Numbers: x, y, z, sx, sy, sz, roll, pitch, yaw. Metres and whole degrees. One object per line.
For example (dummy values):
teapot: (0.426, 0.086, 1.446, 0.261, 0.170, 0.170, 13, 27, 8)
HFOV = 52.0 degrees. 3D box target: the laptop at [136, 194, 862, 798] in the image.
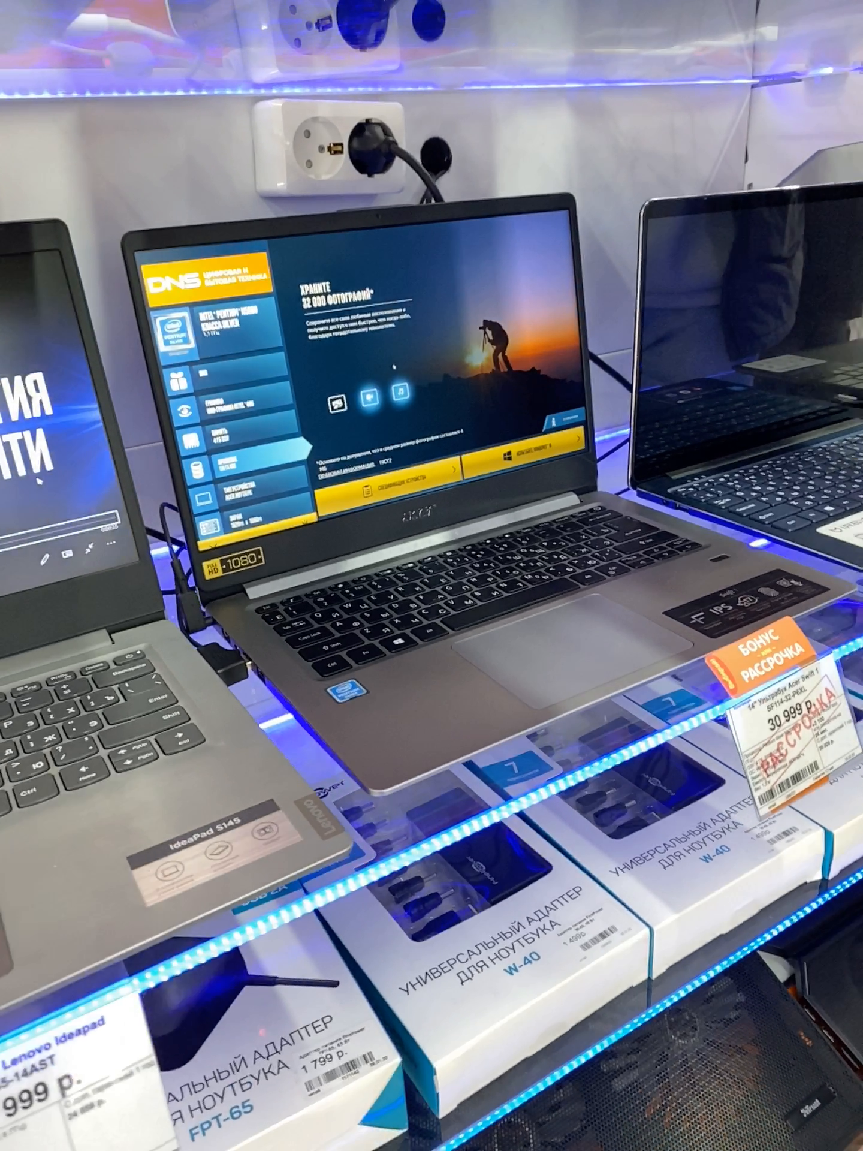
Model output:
laptop: (0.046, -0.090, 0.494, 0.319, 0.206, 0.258, -17, 28, -28)
